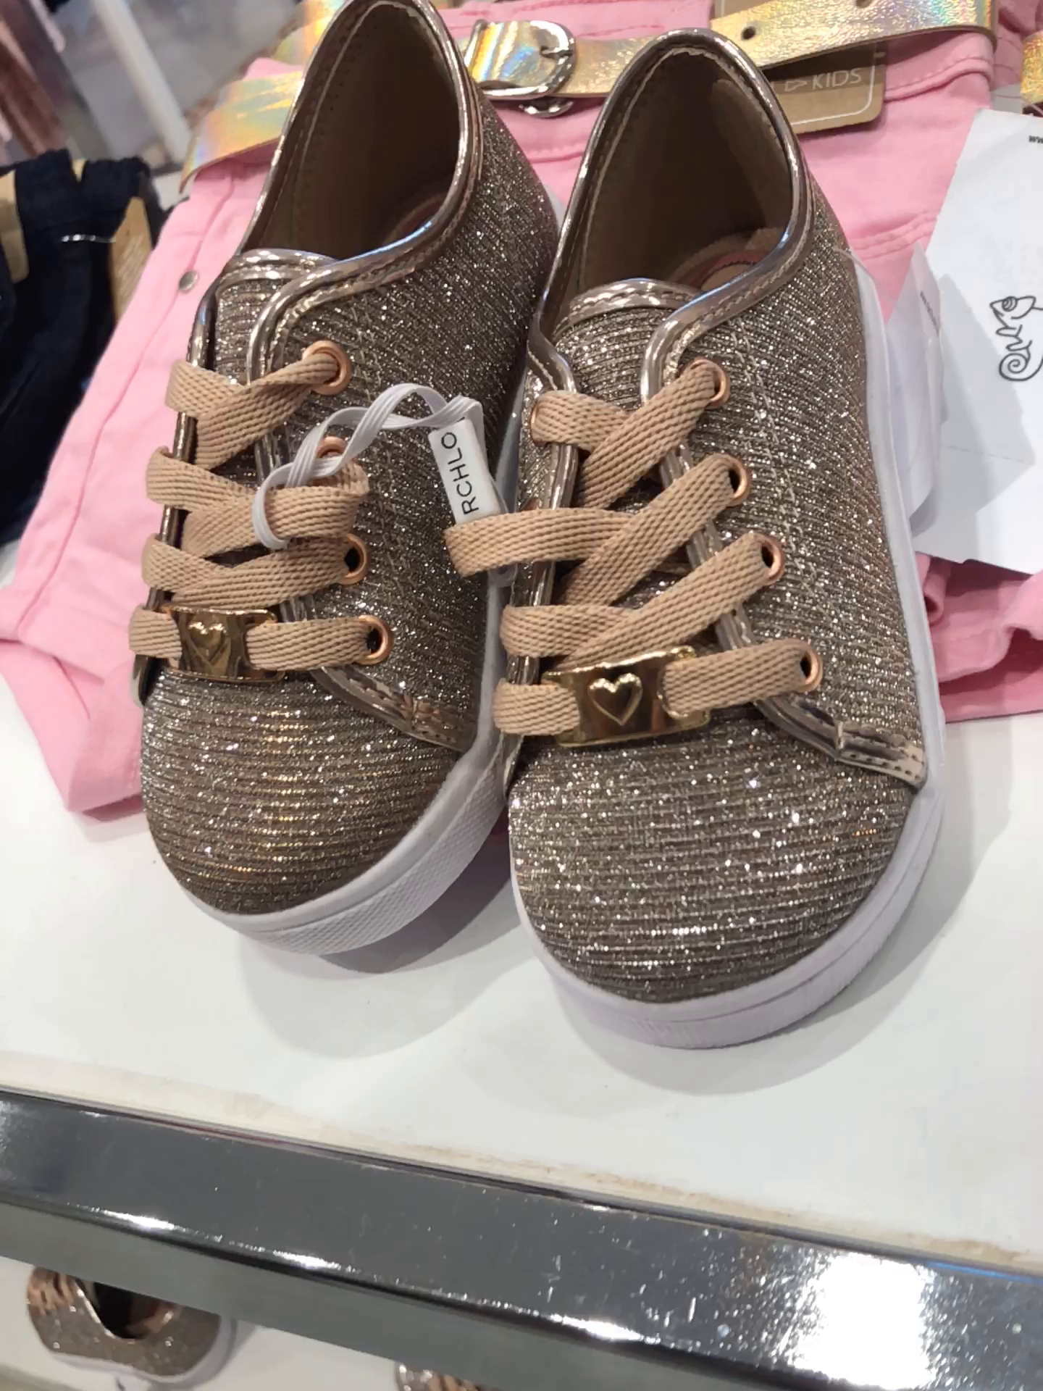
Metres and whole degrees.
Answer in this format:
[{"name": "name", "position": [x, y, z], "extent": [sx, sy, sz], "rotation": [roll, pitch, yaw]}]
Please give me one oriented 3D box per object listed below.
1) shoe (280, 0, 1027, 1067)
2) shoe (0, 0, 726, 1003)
[{"name": "shoe", "position": [0.032, -0.034, 0.203], "extent": [0.080, 0.079, 0.171], "rotation": [-7, 53, 20]}, {"name": "shoe", "position": [-0.018, -0.041, 0.216], "extent": [0.070, 0.080, 0.171], "rotation": [1, 67, 28]}]
